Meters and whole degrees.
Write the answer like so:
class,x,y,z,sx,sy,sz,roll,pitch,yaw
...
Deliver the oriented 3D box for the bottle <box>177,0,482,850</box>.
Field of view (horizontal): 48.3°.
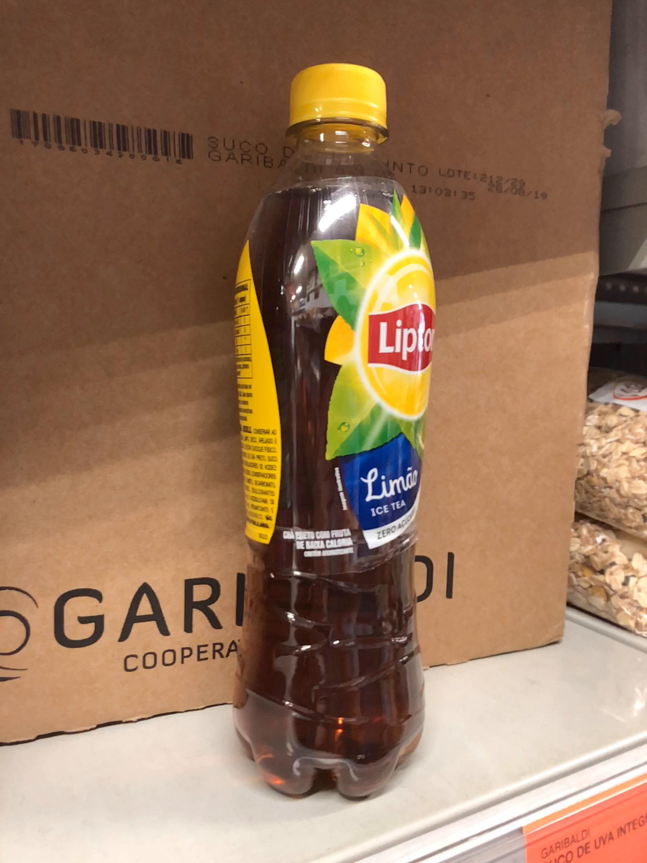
class,x,y,z,sx,sy,sz,roll,pitch,yaw
bottle,0.000,0.000,0.230,0.060,0.219,0.070,8,10,41
